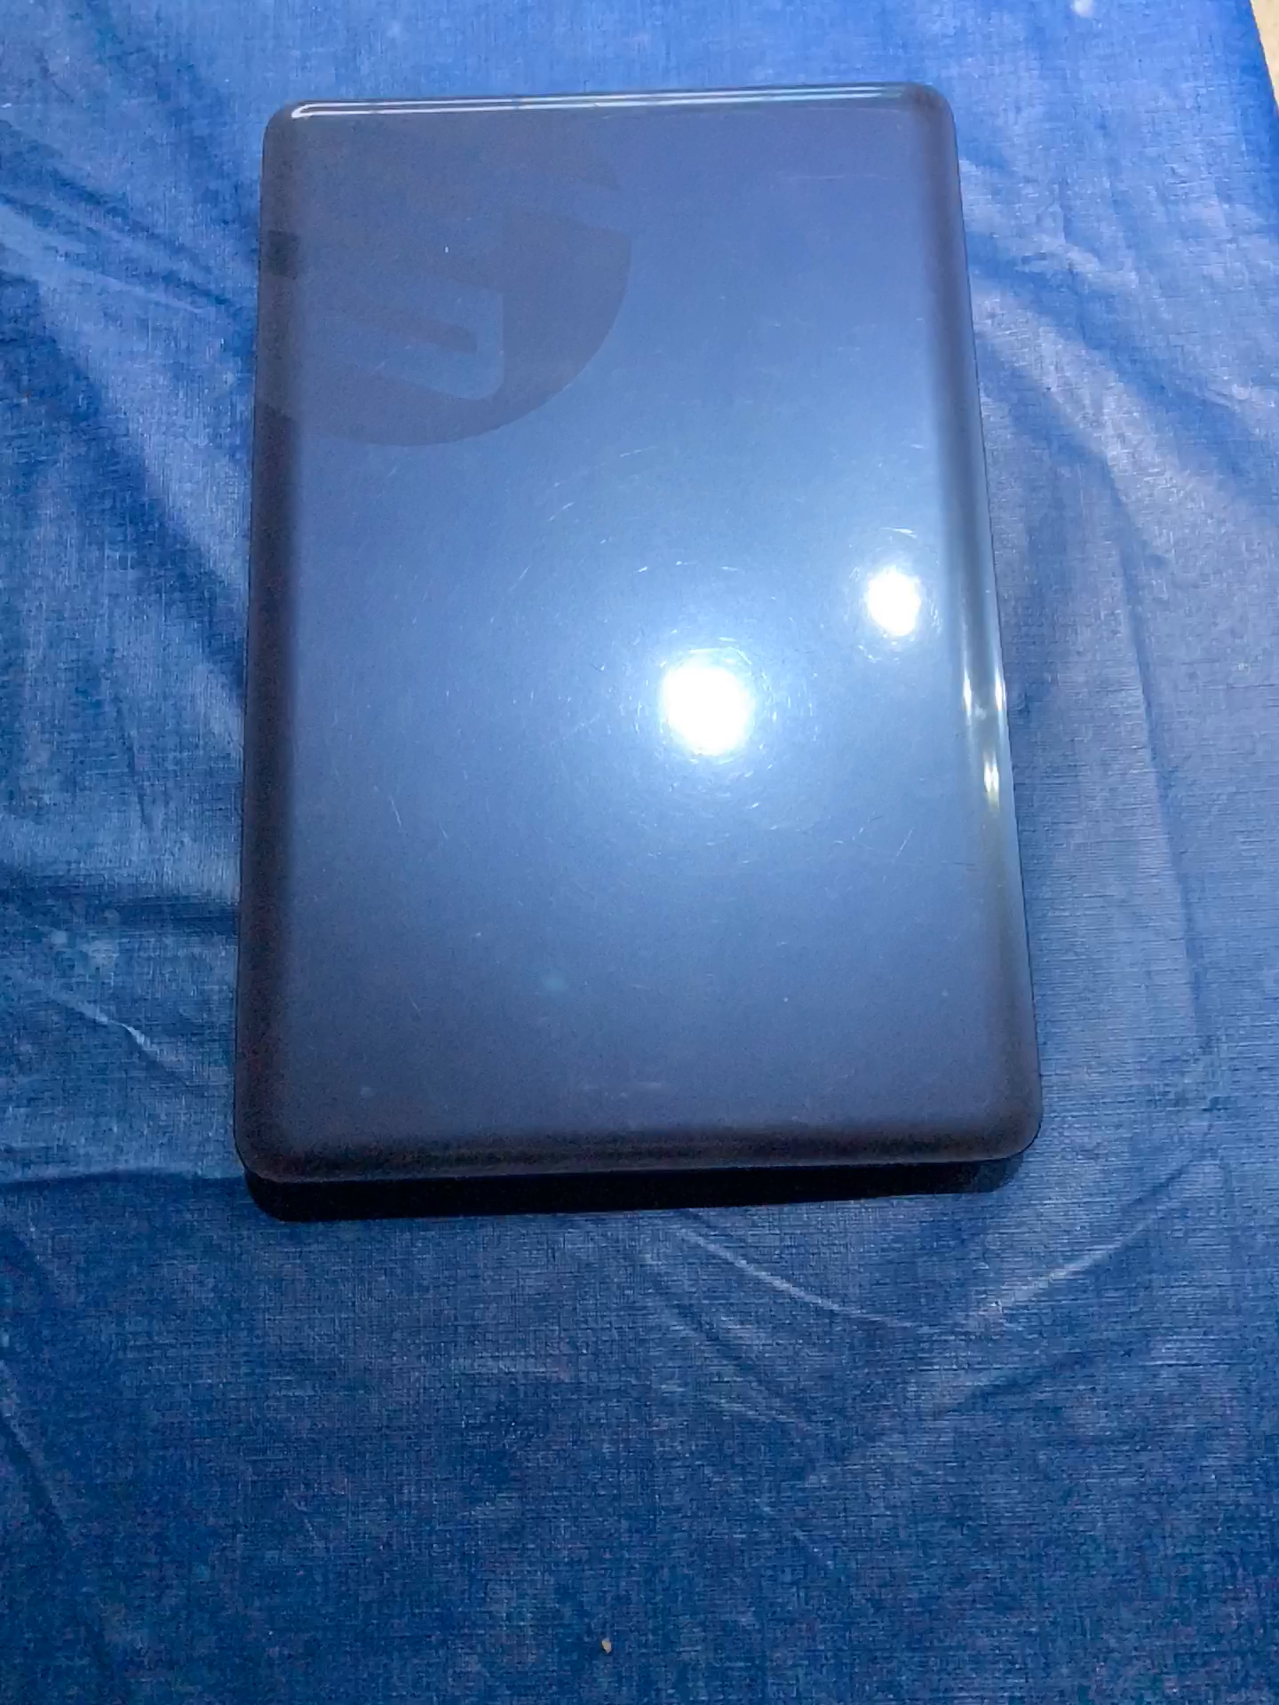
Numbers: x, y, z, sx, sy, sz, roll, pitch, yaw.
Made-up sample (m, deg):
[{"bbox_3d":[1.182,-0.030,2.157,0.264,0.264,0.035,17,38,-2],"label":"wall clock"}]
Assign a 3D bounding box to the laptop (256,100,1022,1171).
[{"bbox_3d":[-0.005,-0.085,0.439,0.235,0.009,0.364,-2,80,-1],"label":"laptop"}]
